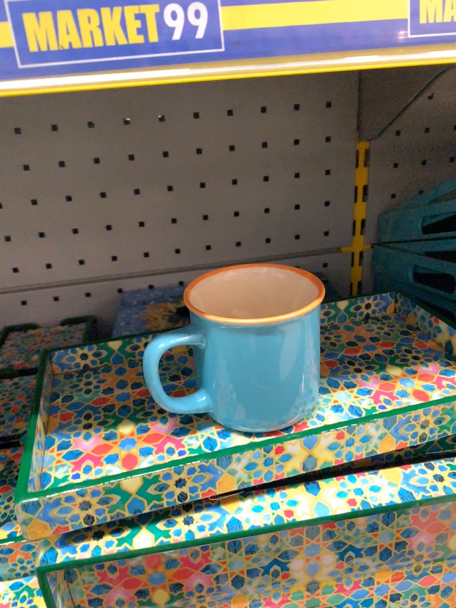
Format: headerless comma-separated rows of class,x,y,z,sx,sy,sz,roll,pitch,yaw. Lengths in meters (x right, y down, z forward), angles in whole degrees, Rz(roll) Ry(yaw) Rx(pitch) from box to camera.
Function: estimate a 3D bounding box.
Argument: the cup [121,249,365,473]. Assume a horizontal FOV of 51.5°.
cup,0.007,0.026,0.299,0.120,0.080,0.090,-13,26,-18
